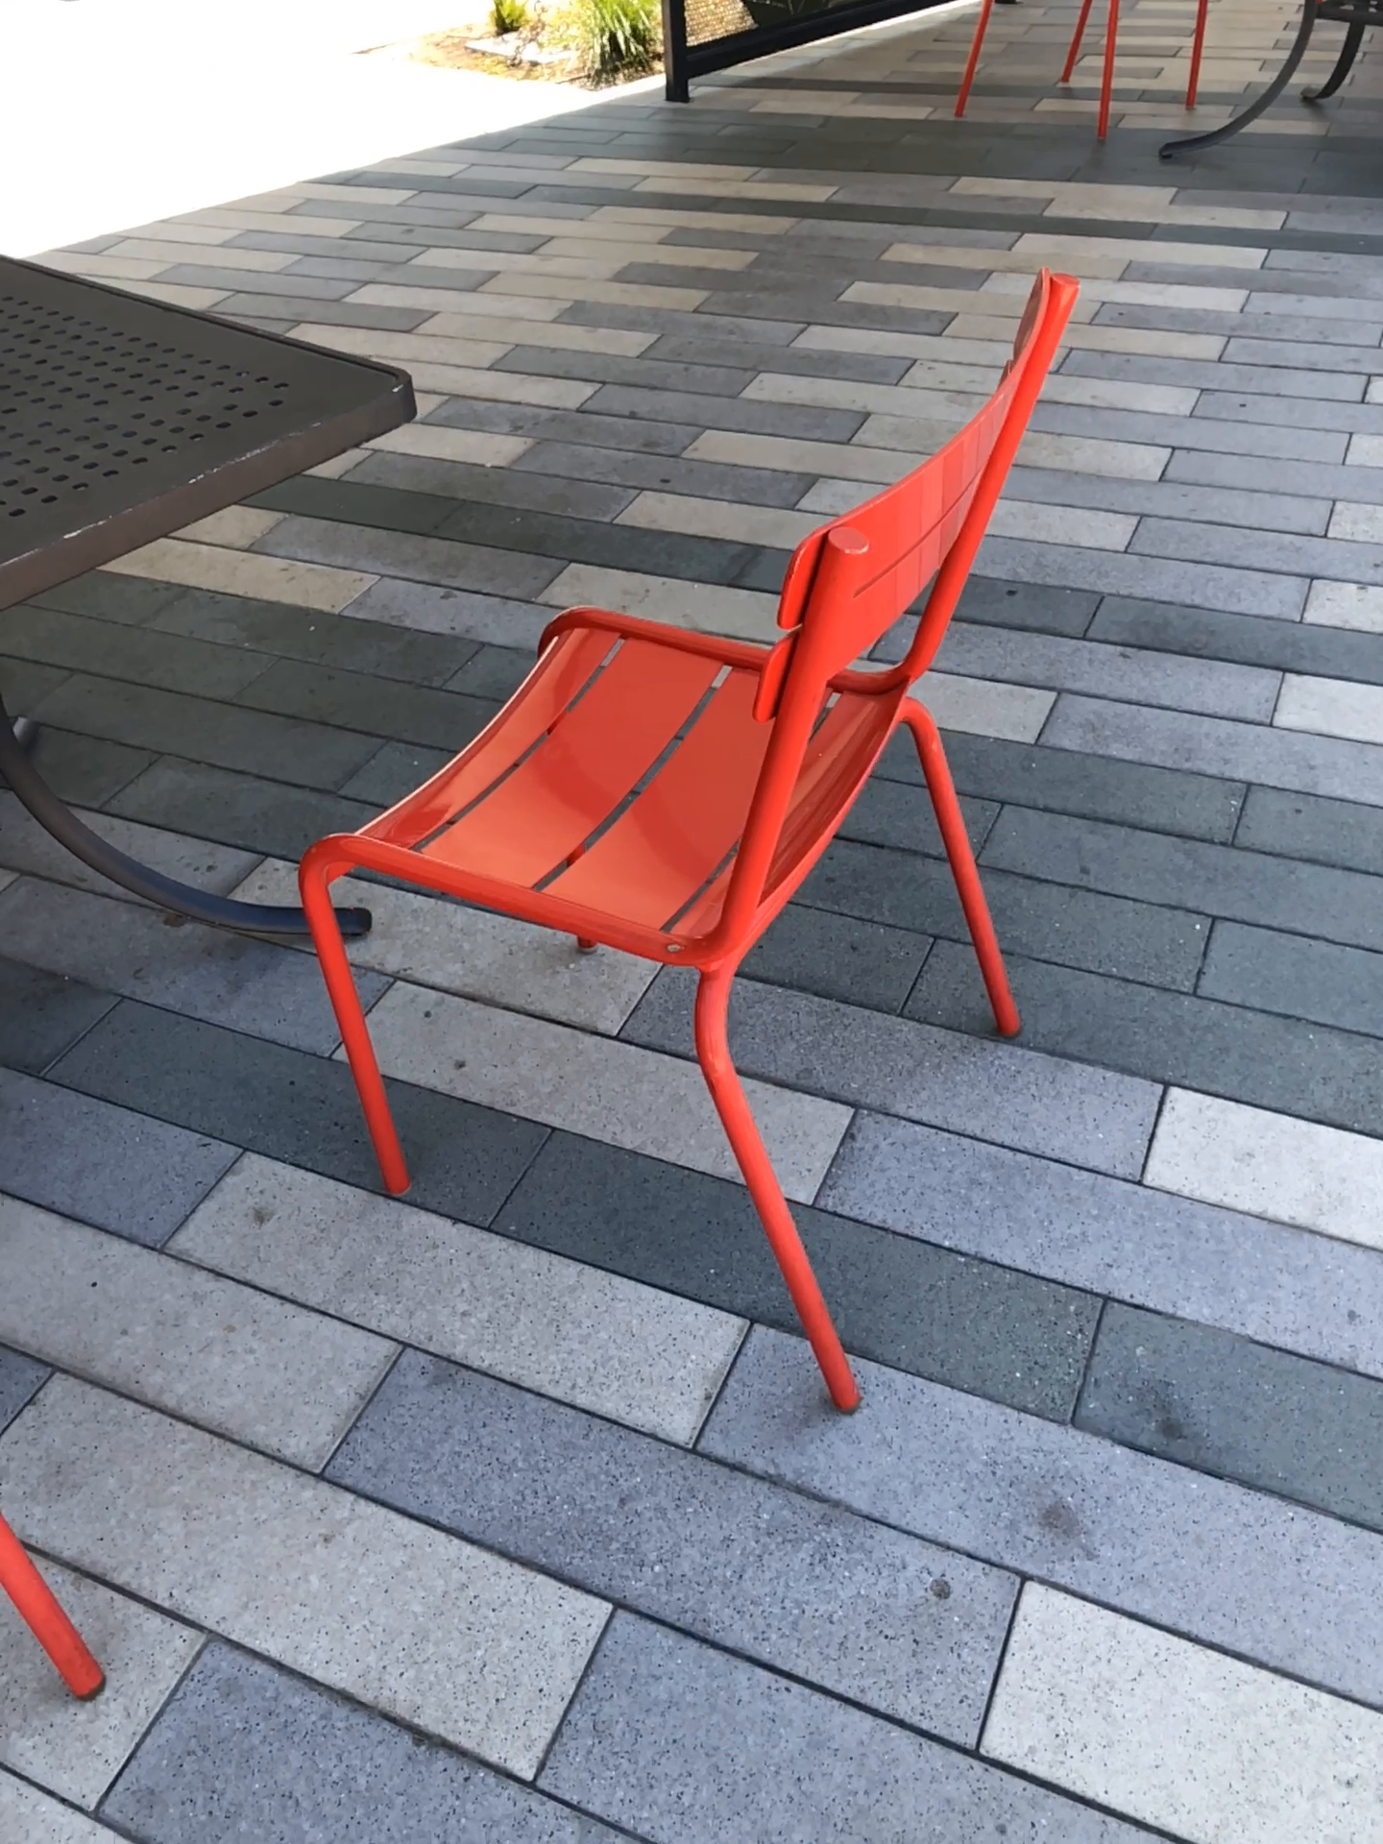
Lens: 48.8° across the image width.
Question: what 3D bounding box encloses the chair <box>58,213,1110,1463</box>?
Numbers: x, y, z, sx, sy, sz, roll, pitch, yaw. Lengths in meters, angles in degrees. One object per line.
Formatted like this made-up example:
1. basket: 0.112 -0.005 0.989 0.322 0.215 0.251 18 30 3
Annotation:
1. chair: -0.023 -0.091 1.511 0.631 0.955 0.612 13 42 20
